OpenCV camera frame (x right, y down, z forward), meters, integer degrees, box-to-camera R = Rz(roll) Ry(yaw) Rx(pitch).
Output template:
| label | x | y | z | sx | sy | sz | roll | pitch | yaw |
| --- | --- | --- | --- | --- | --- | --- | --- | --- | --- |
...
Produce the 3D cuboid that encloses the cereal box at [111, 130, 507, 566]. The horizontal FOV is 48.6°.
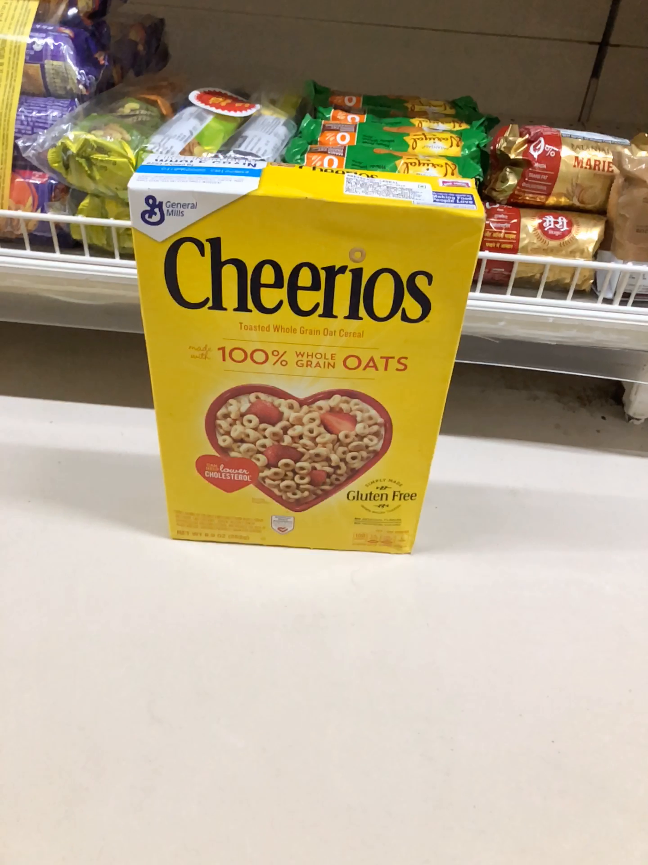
| label | x | y | z | sx | sy | sz | roll | pitch | yaw |
| --- | --- | --- | --- | --- | --- | --- | --- | --- | --- |
| cereal box | -0.015 | -0.035 | 0.477 | 0.200 | 0.288 | 0.060 | 4 | 40 | -1 |
